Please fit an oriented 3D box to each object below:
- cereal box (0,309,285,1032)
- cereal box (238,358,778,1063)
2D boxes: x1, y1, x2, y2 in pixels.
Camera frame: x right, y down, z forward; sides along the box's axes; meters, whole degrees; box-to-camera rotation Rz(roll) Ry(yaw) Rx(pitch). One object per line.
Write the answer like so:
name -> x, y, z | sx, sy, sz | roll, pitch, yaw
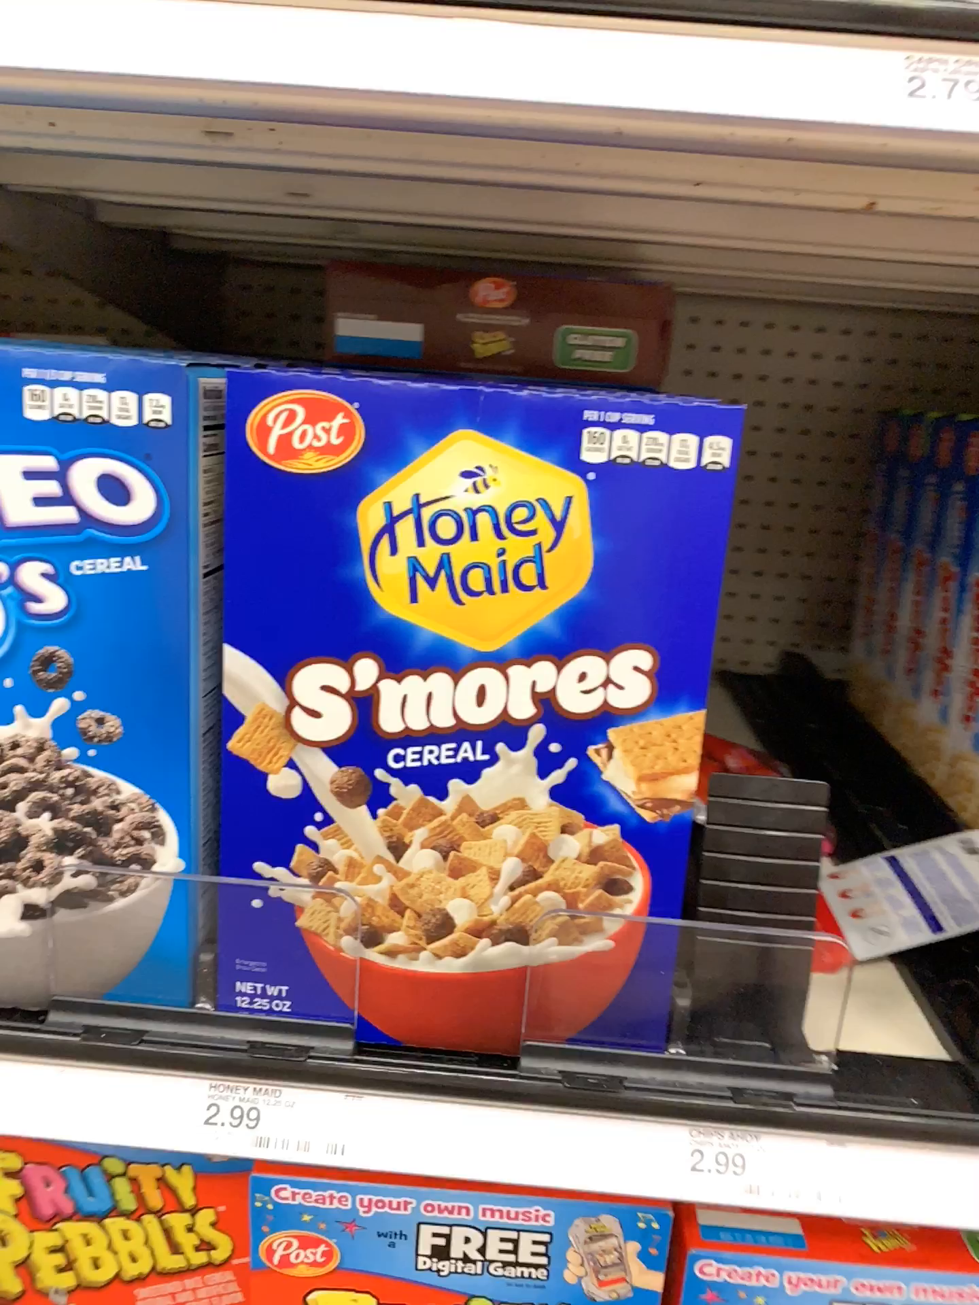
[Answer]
cereal box -> -0.184, 0.010, 0.416 | 0.180, 0.269, 0.070 | 4, 13, 0
cereal box -> 0.000, 0.025, 0.423 | 0.190, 0.269, 0.060 | 5, 13, 2
